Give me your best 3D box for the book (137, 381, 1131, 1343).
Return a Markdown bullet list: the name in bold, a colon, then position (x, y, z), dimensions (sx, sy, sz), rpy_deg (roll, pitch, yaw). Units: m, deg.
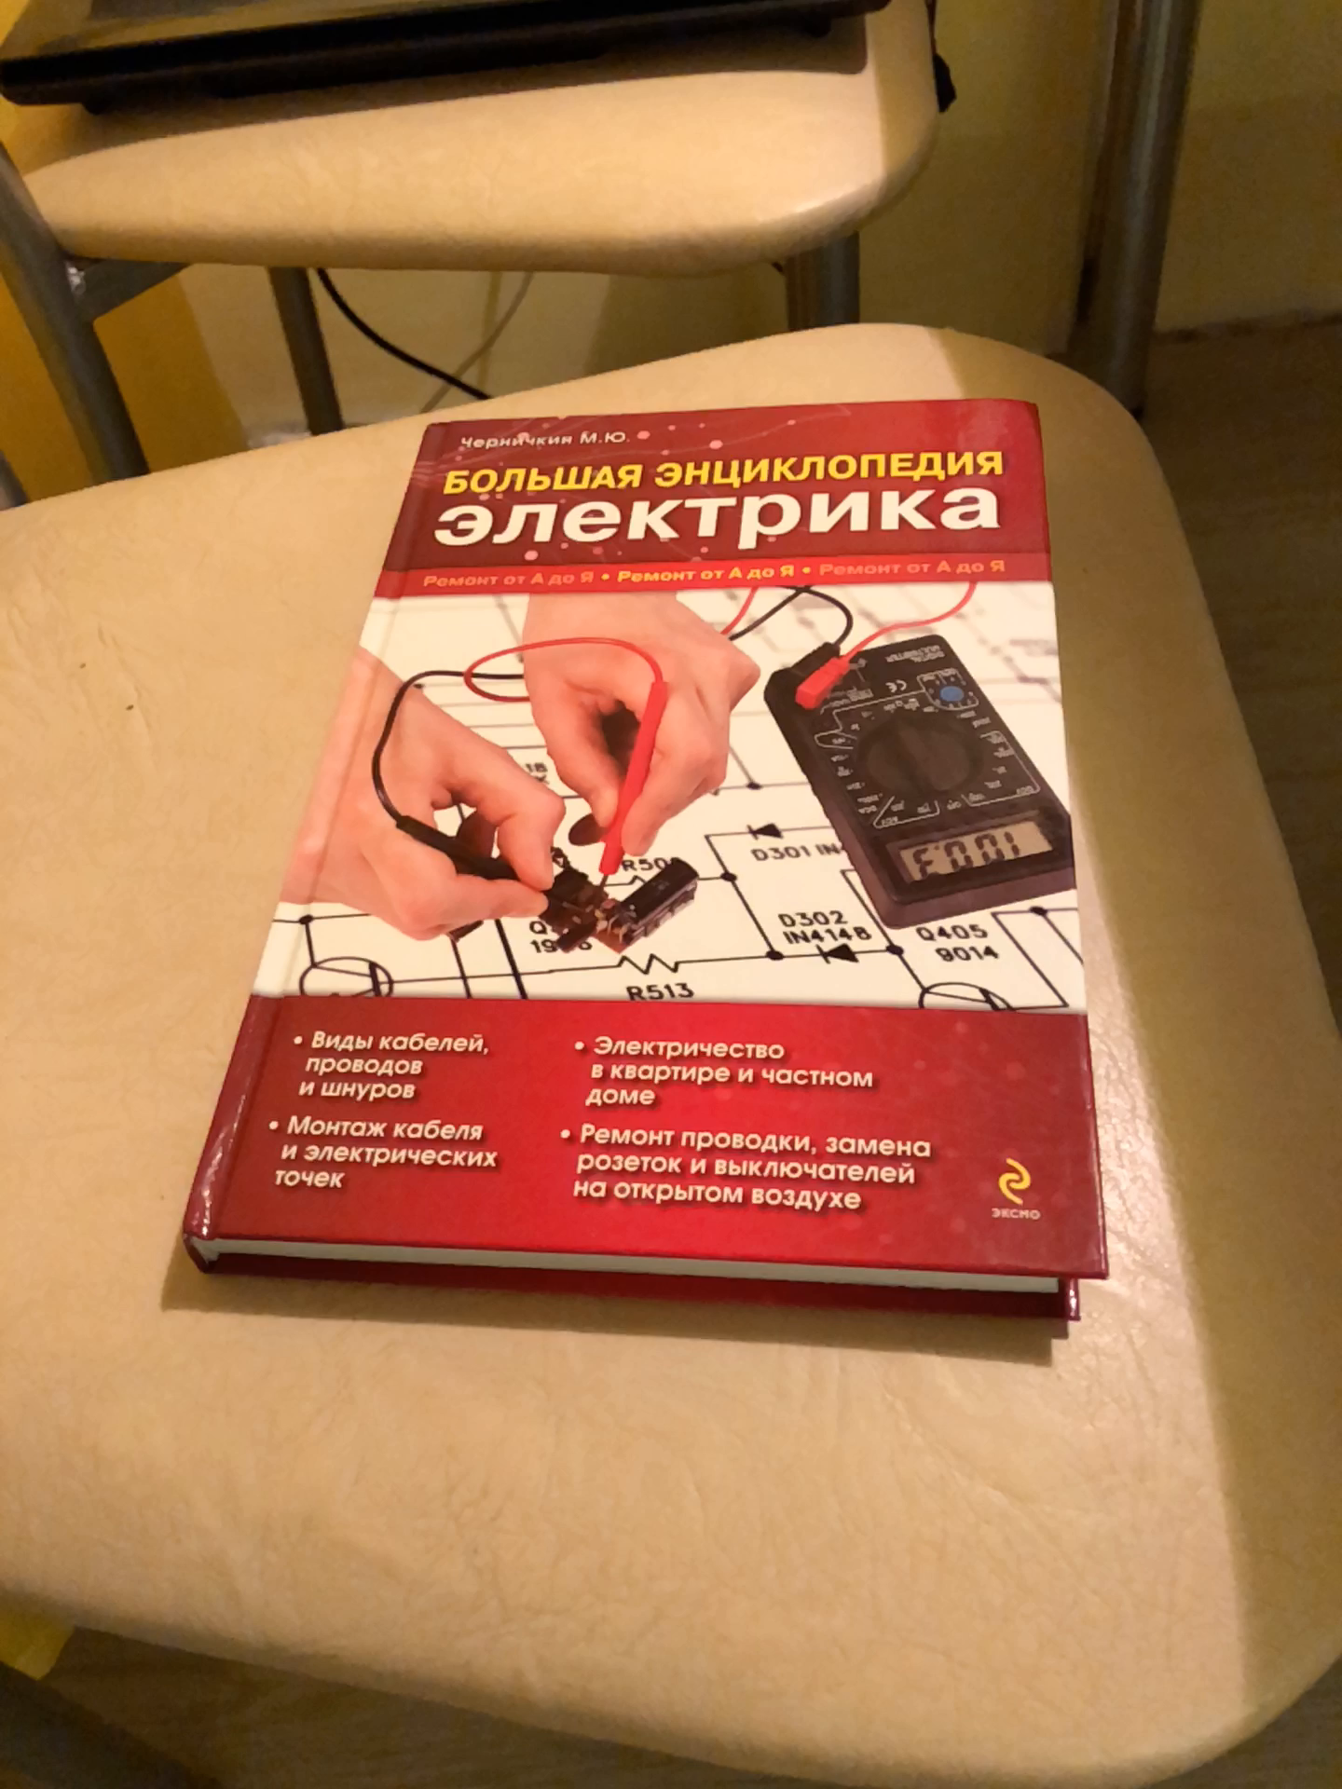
- **book**: position (0.003, -0.027, 0.335), dimensions (0.172, 0.030, 0.242), rpy_deg (1, 53, 9)
